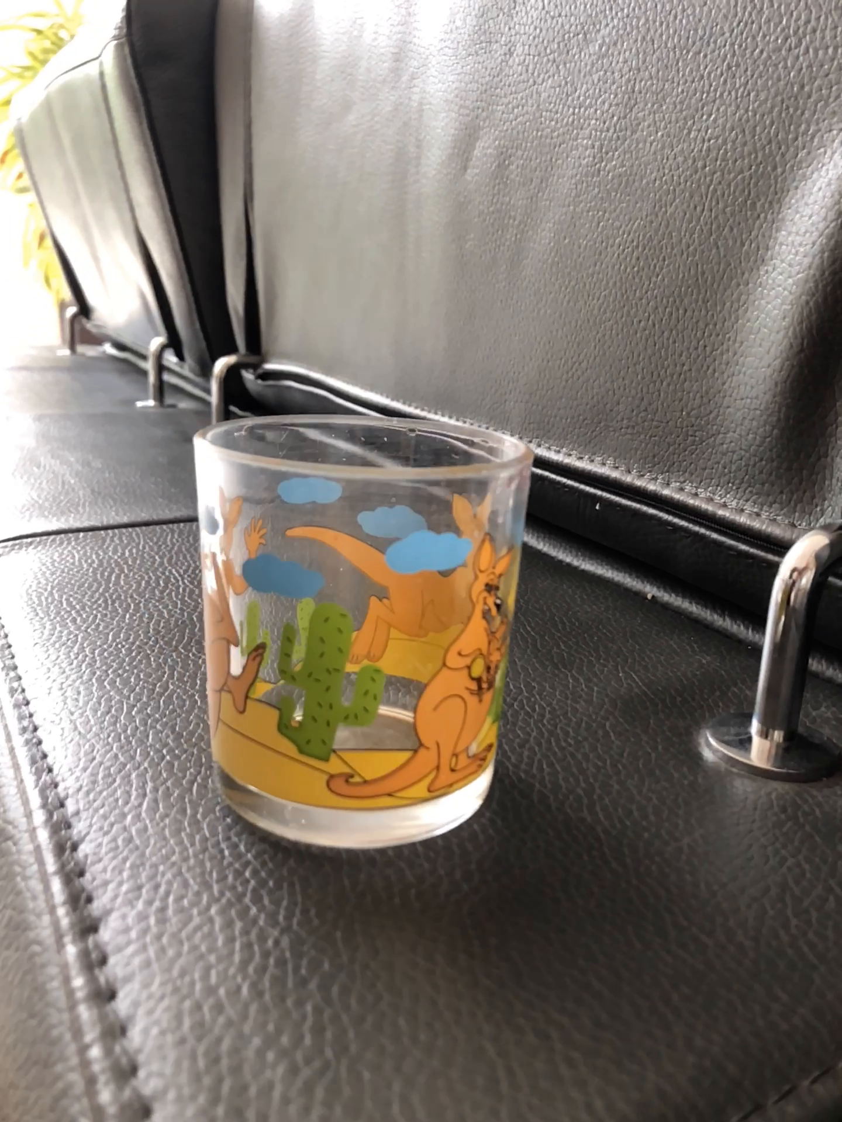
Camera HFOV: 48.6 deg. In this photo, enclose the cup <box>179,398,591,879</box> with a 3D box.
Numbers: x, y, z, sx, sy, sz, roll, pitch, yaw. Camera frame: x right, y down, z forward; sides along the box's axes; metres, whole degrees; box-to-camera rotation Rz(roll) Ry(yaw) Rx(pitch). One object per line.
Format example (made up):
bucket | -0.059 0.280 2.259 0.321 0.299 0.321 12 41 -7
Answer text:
cup | -0.012 0.010 0.207 0.070 0.080 0.080 1 16 -8
